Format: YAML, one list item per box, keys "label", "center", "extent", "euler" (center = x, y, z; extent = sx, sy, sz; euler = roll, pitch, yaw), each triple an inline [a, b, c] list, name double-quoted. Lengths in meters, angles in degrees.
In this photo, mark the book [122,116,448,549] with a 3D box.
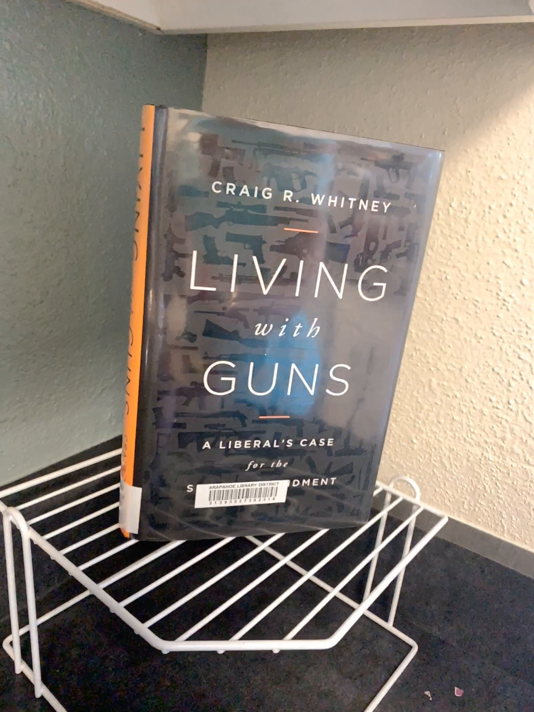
- label: "book"
  center: [0.004, -0.006, 0.328]
  extent: [0.171, 0.229, 0.040]
  euler: [1, 14, -15]
